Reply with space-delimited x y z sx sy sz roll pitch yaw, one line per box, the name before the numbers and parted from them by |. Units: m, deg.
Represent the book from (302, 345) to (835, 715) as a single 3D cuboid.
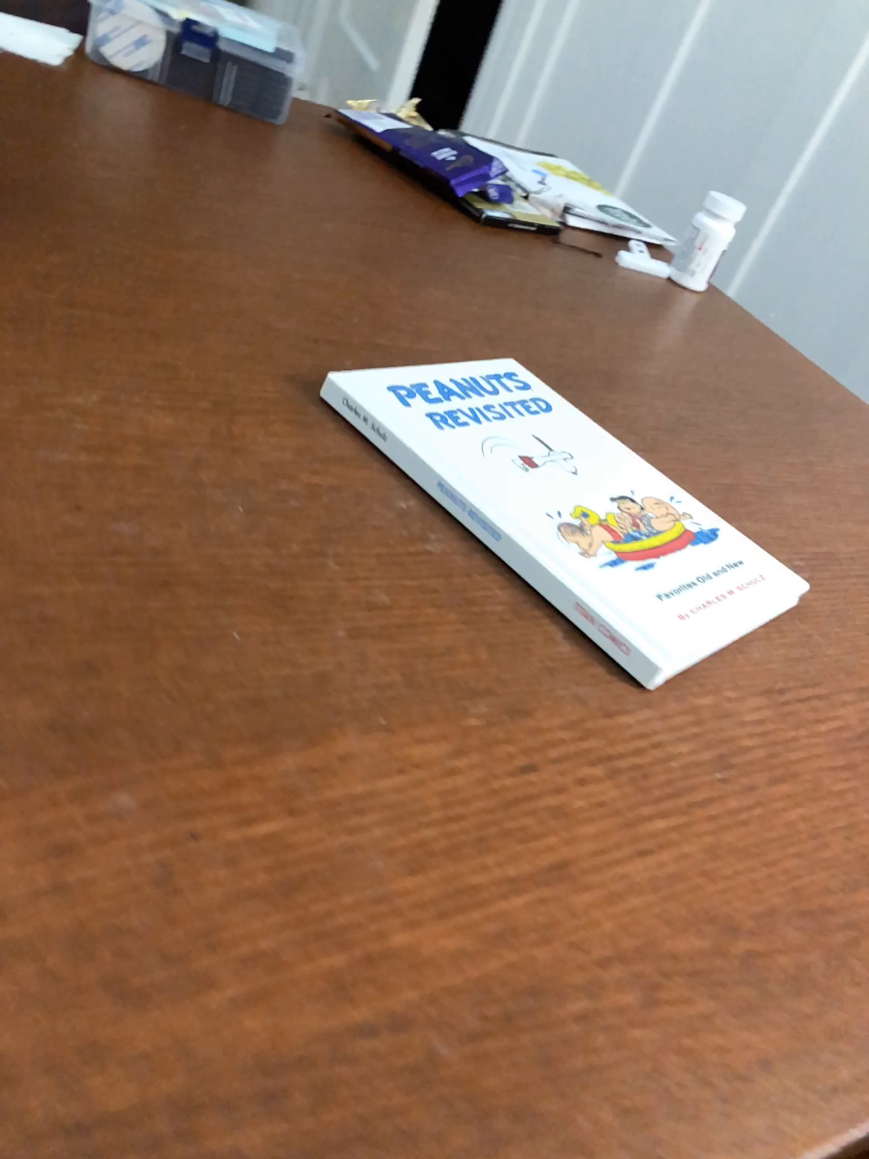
book | 0.063 -0.042 0.453 0.151 0.020 0.220 -18 52 -45
